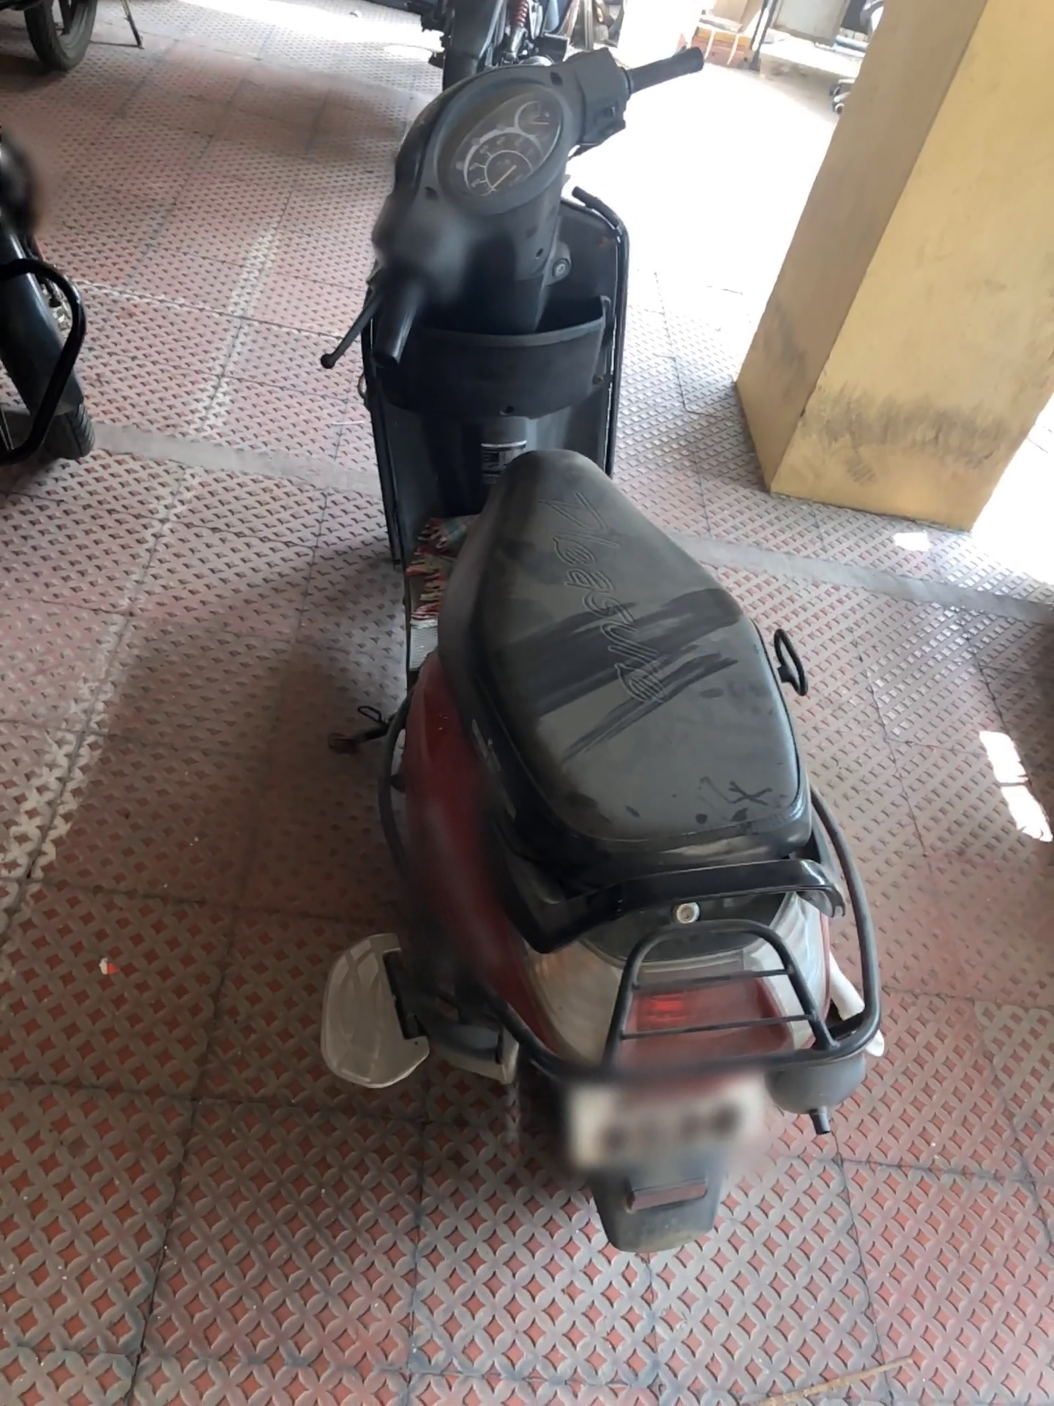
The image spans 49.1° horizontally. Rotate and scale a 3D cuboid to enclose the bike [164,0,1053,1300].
[{"bbox_3d":[-0.123,-0.270,1.591,0.600,1.030,1.657,-2,45,-20],"label":"bike"}]
